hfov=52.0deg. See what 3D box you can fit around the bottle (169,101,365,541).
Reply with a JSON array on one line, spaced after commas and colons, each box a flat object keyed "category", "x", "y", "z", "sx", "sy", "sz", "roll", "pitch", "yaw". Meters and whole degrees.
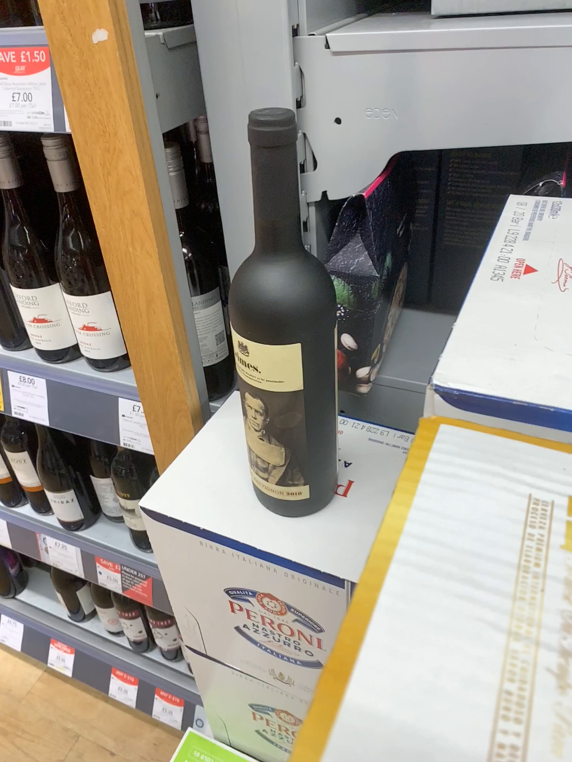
[{"category": "bottle", "x": -0.001, "y": -0.027, "z": 0.407, "sx": 0.075, "sy": 0.288, "sz": 0.079, "roll": -3, "pitch": 36, "yaw": 2}]
